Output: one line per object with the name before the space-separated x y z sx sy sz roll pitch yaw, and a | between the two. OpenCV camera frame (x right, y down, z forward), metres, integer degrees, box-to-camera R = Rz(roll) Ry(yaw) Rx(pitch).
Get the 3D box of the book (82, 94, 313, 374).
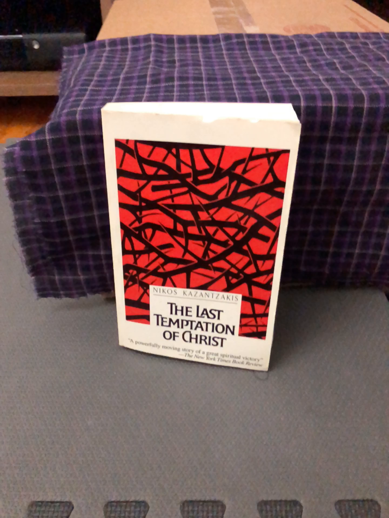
book | 0.006 -0.017 0.346 0.150 0.209 0.050 7 30 16
